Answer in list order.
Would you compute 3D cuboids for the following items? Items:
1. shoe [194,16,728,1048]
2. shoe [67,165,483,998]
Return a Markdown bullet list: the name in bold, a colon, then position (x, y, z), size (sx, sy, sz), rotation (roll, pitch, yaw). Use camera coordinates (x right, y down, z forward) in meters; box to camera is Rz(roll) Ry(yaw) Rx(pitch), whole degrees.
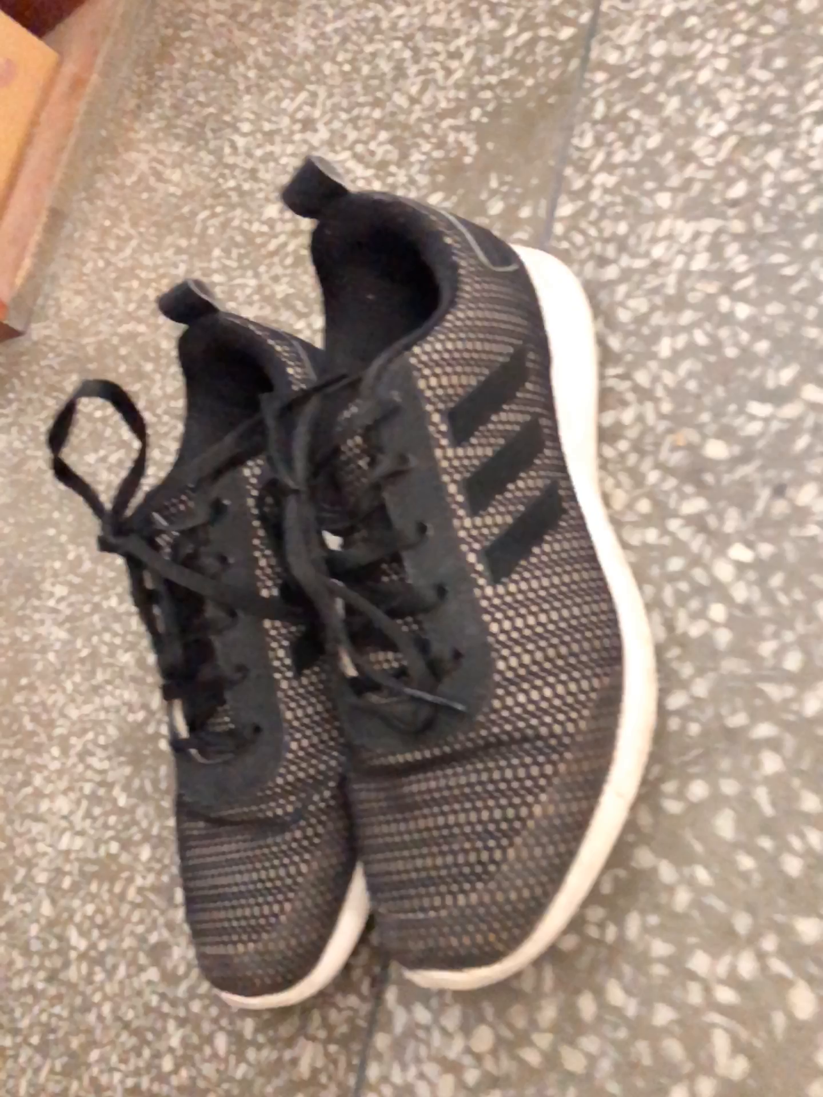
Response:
- **shoe**: position (0.013, -0.009, 0.274), size (0.100, 0.080, 0.270), rotation (-19, 59, 38)
- **shoe**: position (-0.045, 0.010, 0.339), size (0.100, 0.080, 0.280), rotation (-22, 58, 37)
